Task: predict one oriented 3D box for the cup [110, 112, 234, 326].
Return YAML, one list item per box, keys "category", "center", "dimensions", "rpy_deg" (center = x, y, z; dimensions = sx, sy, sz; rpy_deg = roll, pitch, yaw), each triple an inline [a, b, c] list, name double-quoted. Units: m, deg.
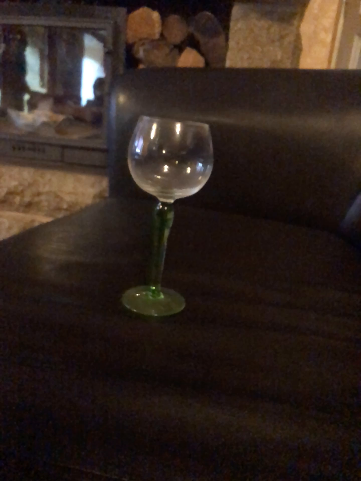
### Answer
- category: "cup"
  center: [-0.008, -0.025, 0.401]
  dimensions: [0.079, 0.185, 0.080]
  rpy_deg: [7, 16, -2]
